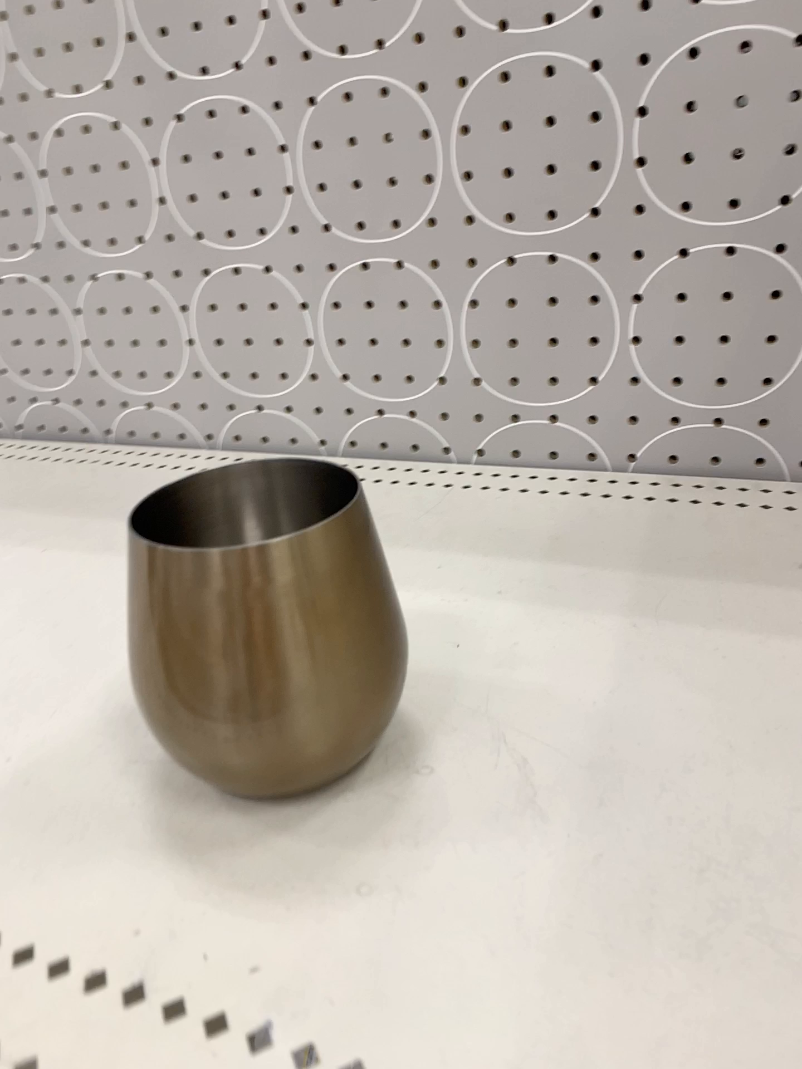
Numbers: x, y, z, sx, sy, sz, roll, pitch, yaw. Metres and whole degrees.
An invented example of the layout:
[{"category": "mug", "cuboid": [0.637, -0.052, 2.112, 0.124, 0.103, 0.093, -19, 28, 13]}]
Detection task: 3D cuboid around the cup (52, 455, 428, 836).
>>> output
[{"category": "cup", "cuboid": [-0.046, 0.031, 0.280, 0.082, 0.090, 0.084, -5, 25, 2]}]
